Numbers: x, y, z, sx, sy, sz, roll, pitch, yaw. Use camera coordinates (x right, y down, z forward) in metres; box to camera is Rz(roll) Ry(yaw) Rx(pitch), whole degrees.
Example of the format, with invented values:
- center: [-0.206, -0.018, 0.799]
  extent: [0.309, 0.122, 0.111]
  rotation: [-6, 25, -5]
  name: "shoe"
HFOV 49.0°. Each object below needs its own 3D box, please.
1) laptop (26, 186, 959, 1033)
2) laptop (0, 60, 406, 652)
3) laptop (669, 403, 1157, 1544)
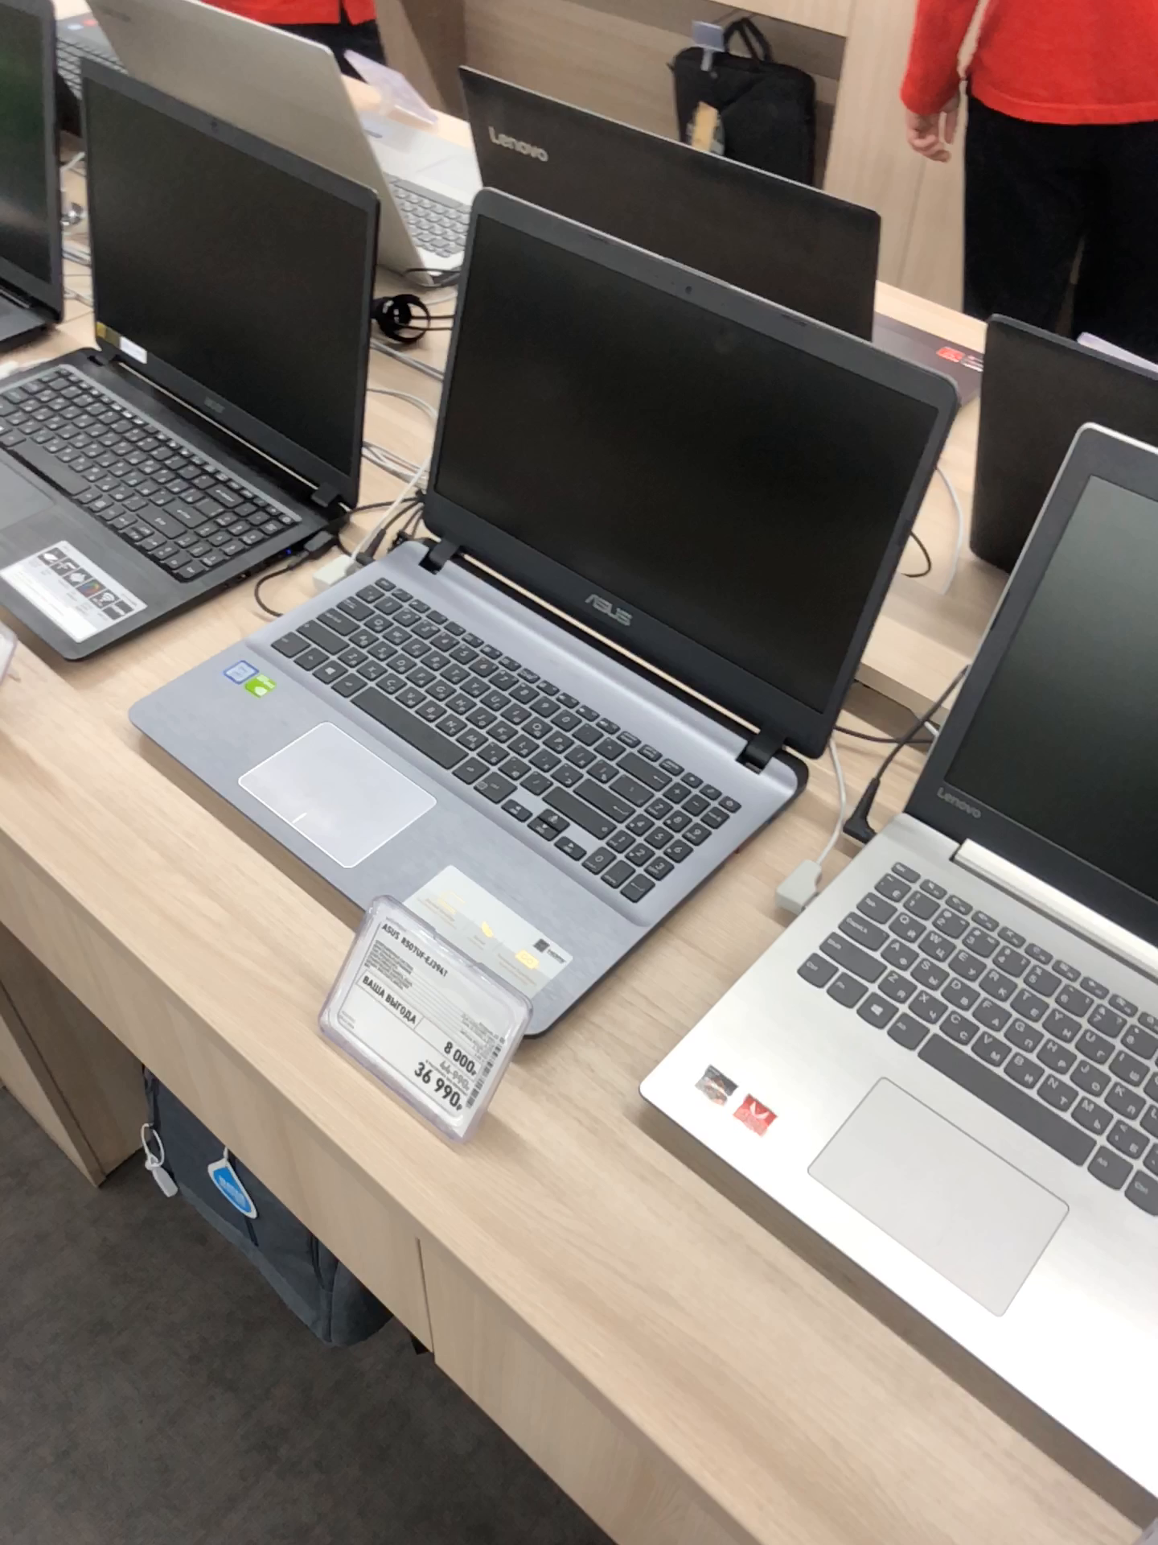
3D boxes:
- center: [-0.044, -0.120, 0.730]
  extent: [0.345, 0.226, 0.329]
  rotation: [33, 55, 26]
  name: "laptop"
- center: [-0.359, -0.315, 0.914]
  extent: [0.333, 0.222, 0.292]
  rotation: [35, 55, 27]
  name: "laptop"
- center: [0.281, 0.085, 0.550]
  extent: [0.371, 0.220, 0.333]
  rotation: [32, 55, 25]
  name: "laptop"
